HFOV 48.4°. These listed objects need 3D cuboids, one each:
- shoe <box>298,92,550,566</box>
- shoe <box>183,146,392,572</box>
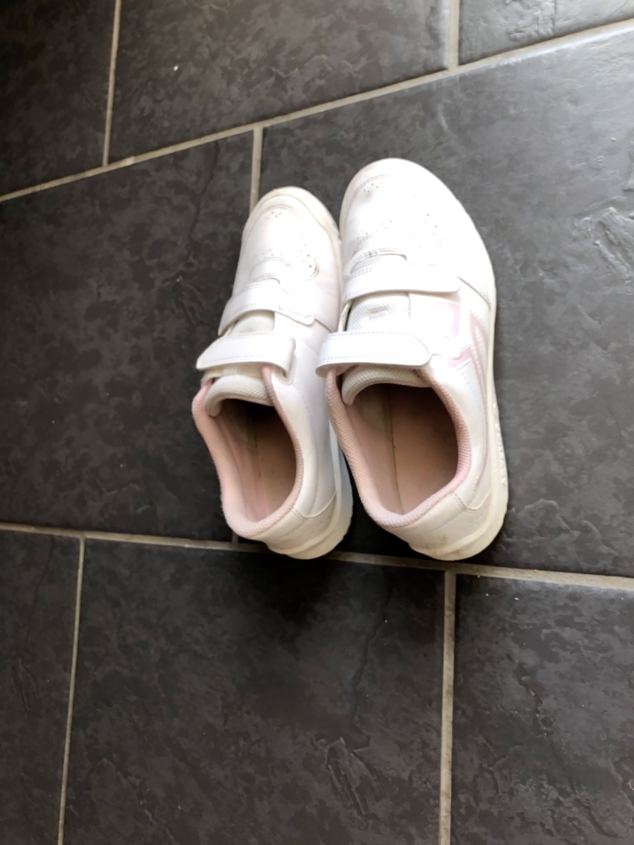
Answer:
[{"bbox_3d":[0.063,-0.046,0.425,0.095,0.090,0.250,-11,77,29],"label":"shoe"},{"bbox_3d":[-0.021,-0.032,0.467,0.095,0.090,0.250,-8,79,30],"label":"shoe"}]
